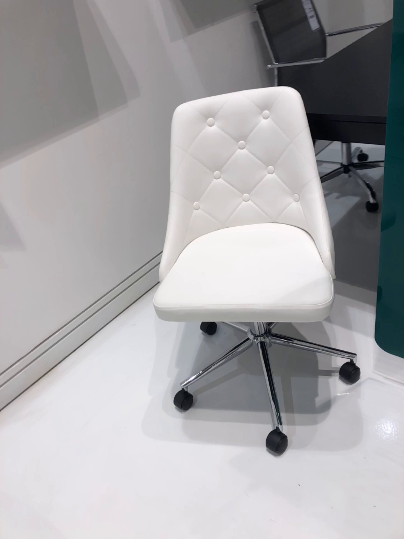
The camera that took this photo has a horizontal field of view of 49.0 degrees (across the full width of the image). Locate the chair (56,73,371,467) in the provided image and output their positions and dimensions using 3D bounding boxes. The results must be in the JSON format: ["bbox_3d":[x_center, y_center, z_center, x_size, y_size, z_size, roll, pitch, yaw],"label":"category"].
[{"bbox_3d":[0.148,0.006,1.297,0.600,0.853,0.645,-2,36,18],"label":"chair"}]
